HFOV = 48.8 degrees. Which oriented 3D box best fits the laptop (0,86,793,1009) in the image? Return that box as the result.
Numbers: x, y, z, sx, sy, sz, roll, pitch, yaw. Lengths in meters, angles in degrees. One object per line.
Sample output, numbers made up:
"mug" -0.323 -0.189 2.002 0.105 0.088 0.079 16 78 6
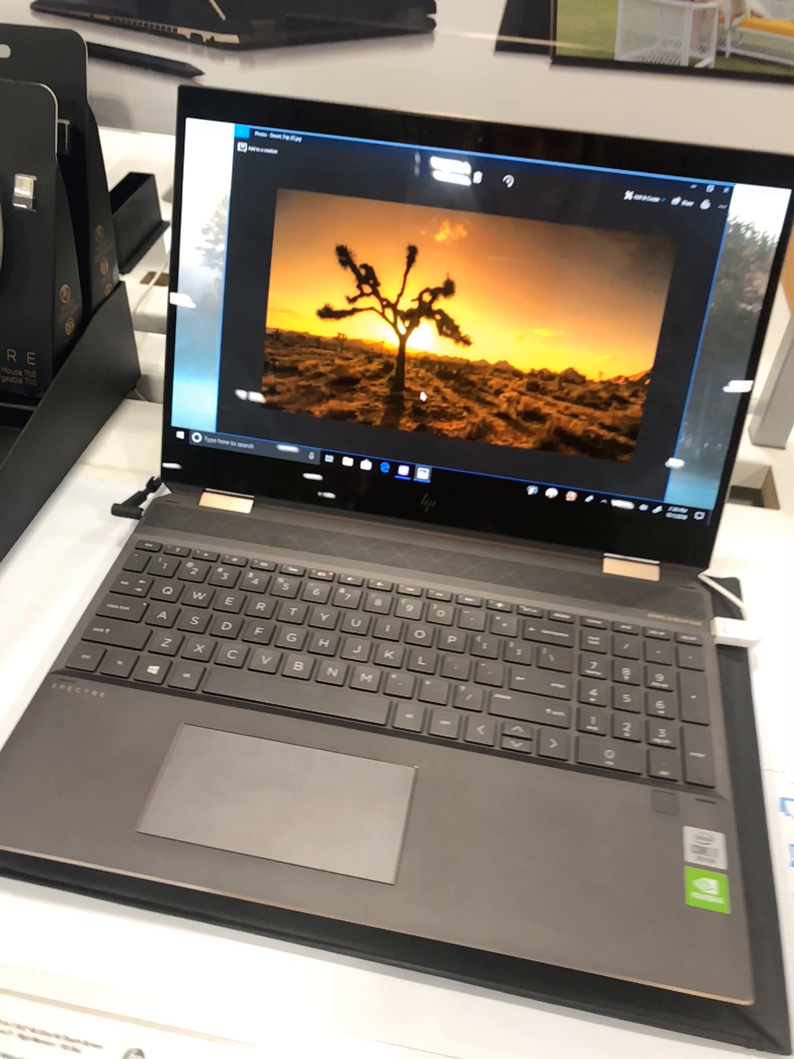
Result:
"laptop" 0.009 -0.029 0.434 0.348 0.209 0.361 9 44 5
